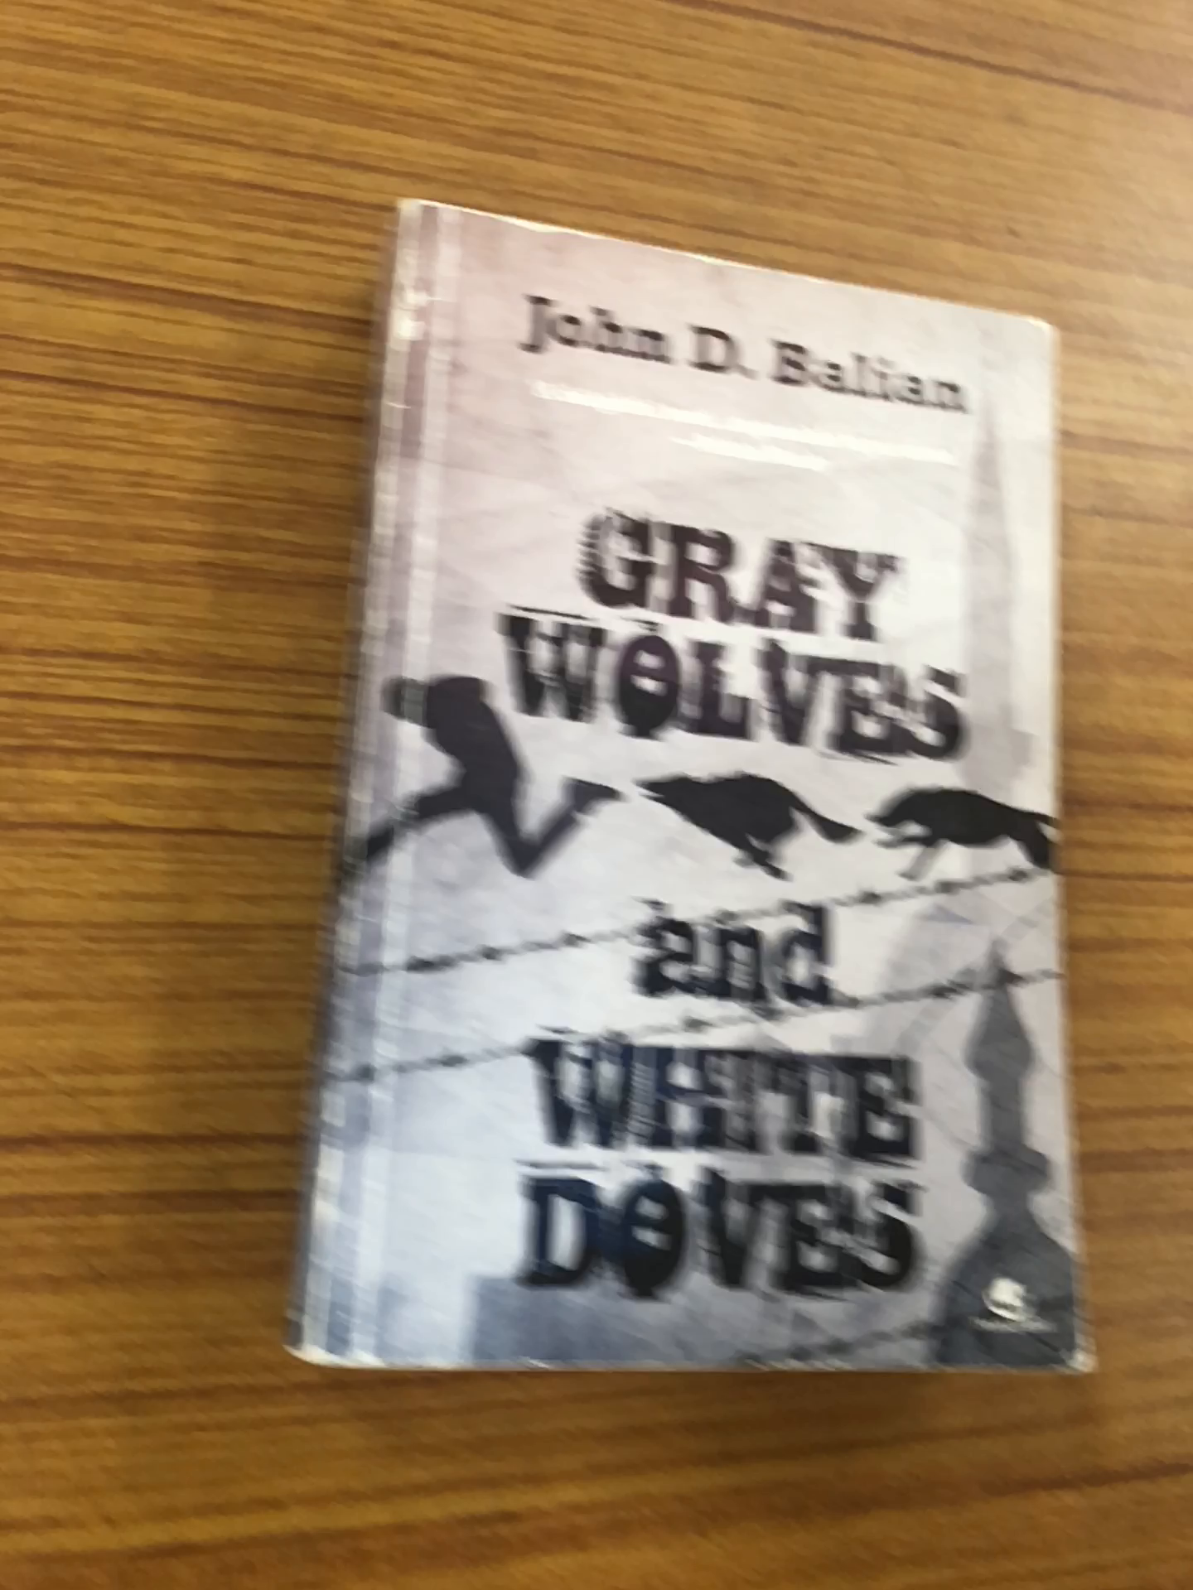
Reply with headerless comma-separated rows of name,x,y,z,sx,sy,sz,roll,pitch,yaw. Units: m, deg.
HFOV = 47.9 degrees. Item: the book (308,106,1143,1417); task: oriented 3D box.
book,0.026,-0.007,0.237,0.130,0.030,0.210,6,78,-11
